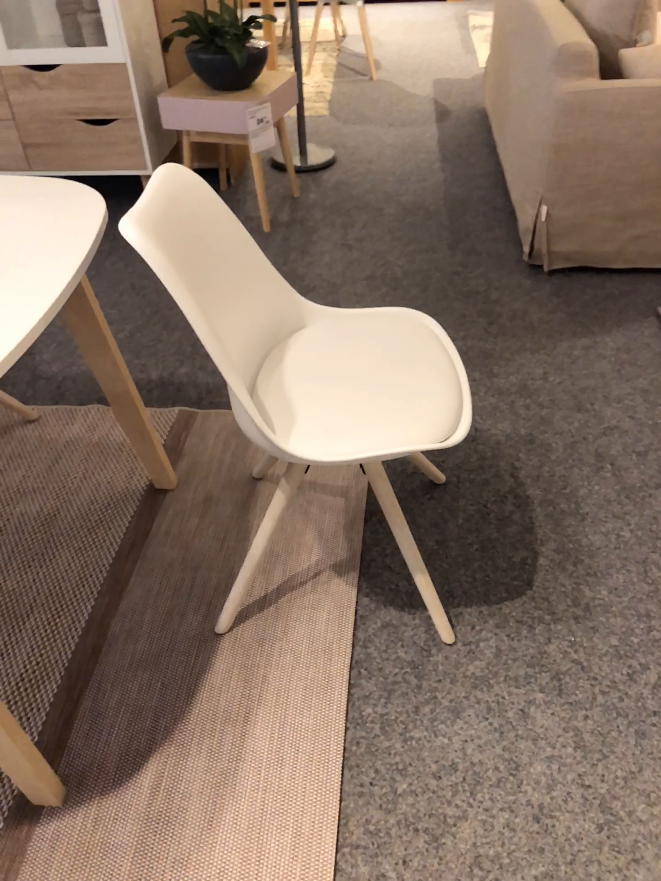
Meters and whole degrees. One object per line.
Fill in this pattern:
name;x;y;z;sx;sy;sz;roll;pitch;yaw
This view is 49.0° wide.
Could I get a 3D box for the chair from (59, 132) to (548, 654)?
chair;-0.006;-0.079;1.324;0.590;0.756;0.553;1;40;4
